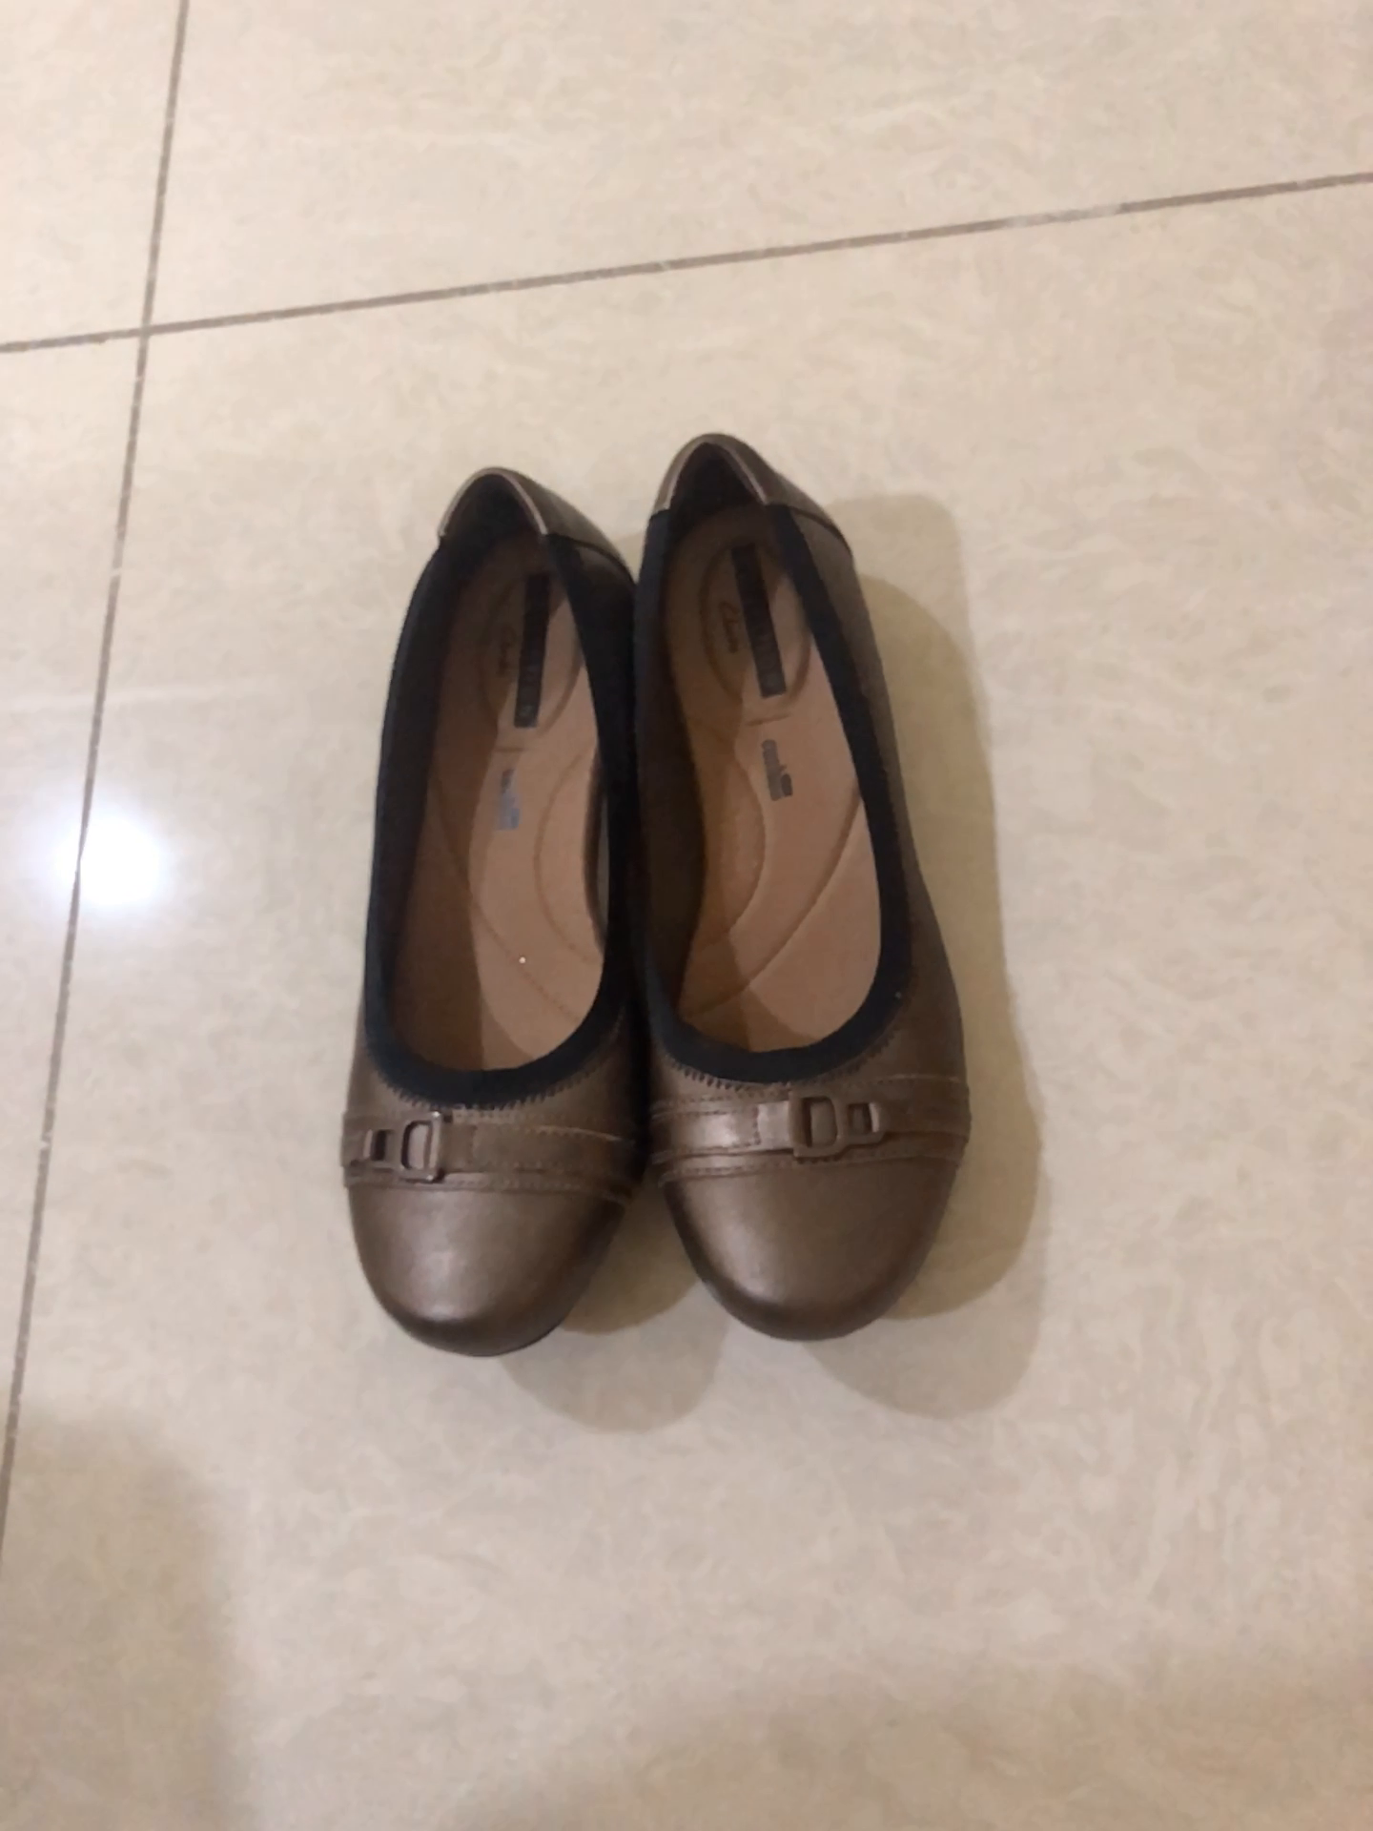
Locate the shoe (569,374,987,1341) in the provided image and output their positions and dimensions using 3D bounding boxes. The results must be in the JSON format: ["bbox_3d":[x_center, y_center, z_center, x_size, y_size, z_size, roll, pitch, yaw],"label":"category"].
[{"bbox_3d":[0.023,-0.017,0.440,0.090,0.070,0.260,-6,72,8],"label":"shoe"}]

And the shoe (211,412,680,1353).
[{"bbox_3d":[-0.063,-0.015,0.452,0.100,0.050,0.270,0,73,10],"label":"shoe"}]
